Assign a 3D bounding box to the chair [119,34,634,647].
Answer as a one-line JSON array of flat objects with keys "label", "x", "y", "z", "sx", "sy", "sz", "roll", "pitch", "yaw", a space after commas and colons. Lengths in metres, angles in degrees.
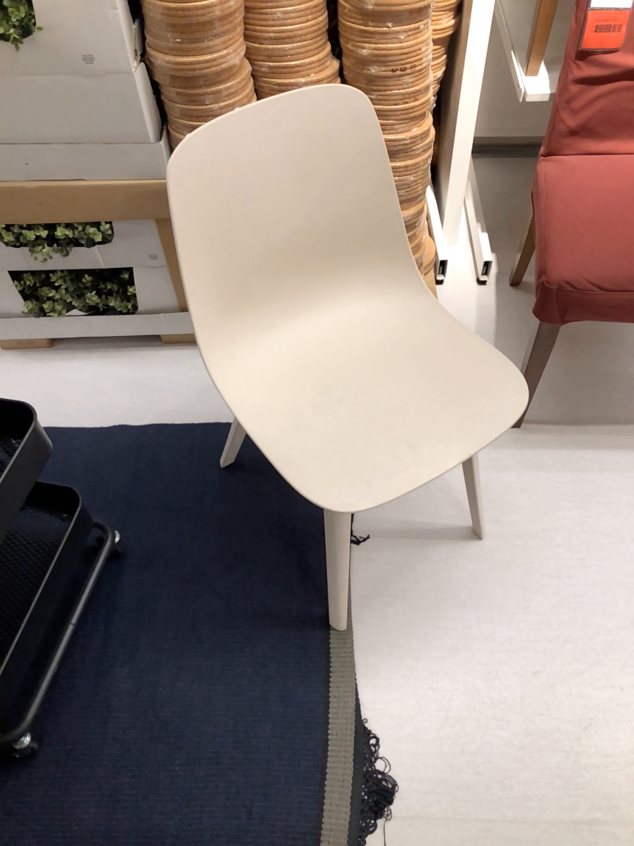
[{"label": "chair", "x": 0.090, "y": -0.092, "z": 1.099, "sx": 0.451, "sy": 0.696, "sz": 0.492, "roll": -30, "pitch": 58, "yaw": -17}]
